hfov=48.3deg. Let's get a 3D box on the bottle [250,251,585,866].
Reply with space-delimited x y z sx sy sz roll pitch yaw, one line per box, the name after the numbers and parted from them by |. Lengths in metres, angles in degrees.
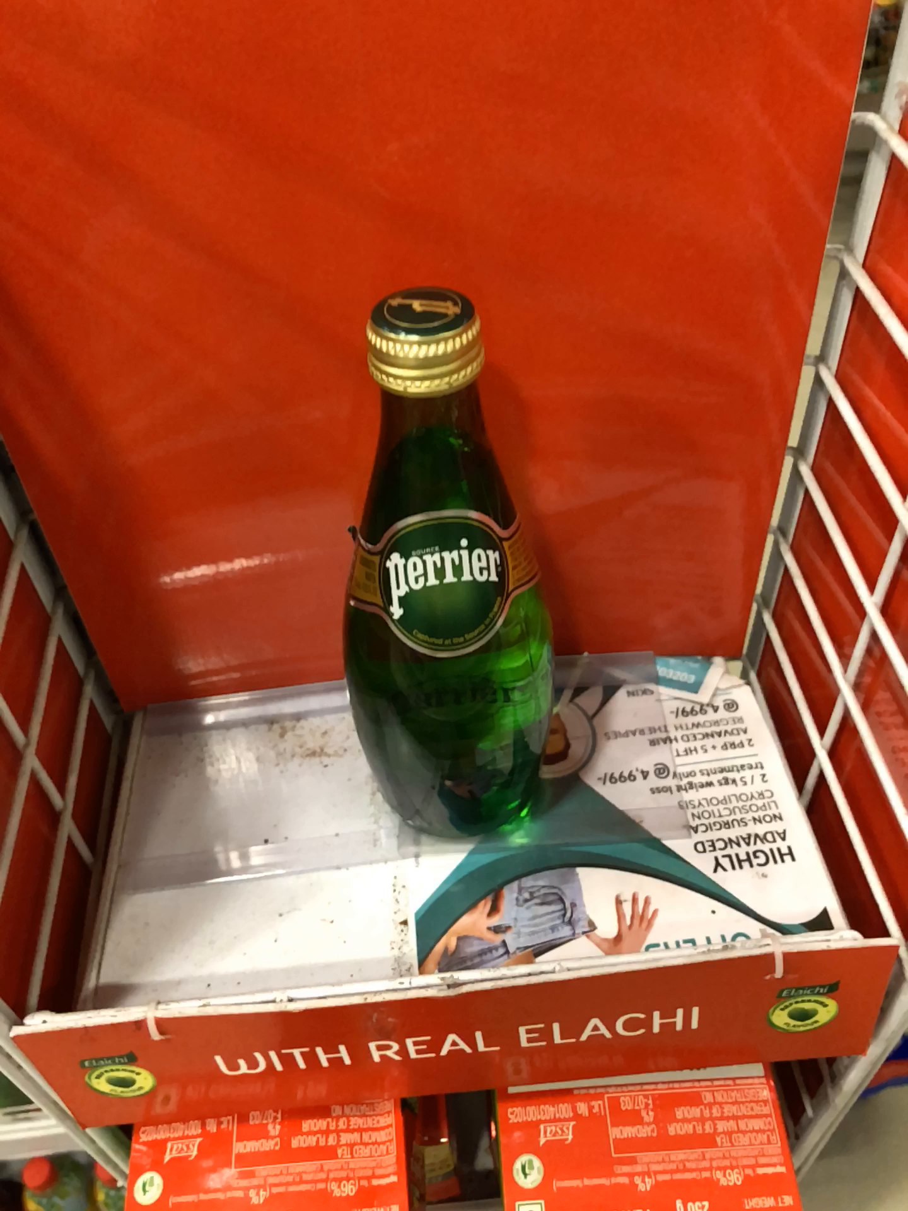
-0.005 -0.001 0.295 0.070 0.179 0.060 -7 46 -2 | bottle
